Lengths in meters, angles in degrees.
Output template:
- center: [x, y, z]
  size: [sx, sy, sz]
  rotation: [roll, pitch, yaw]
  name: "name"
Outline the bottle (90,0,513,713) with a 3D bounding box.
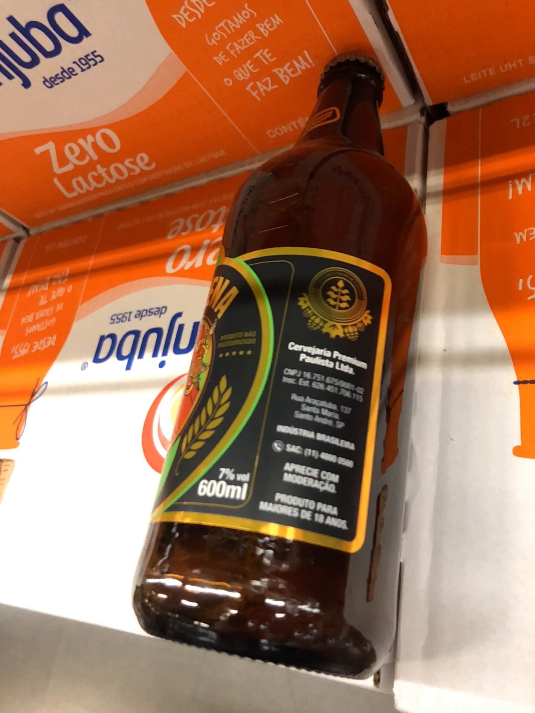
- center: [0.031, -0.036, 0.220]
  size: [0.100, 0.060, 0.281]
  rotation: [-6, 61, 33]
  name: "bottle"
